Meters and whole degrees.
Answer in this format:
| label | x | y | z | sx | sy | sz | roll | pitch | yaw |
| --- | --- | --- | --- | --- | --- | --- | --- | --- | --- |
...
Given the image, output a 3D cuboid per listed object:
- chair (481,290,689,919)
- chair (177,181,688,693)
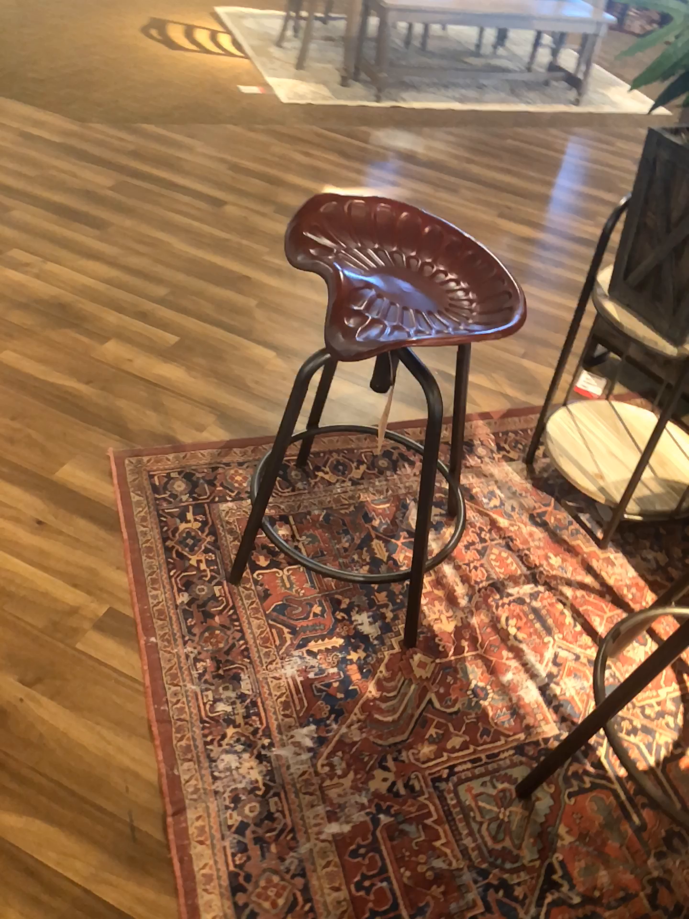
| label | x | y | z | sx | sy | sz | roll | pitch | yaw |
| --- | --- | --- | --- | --- | --- | --- | --- | --- | --- |
| chair | 0.665 | 0.313 | 0.999 | 0.610 | 0.736 | 0.539 | 31 | 46 | 22 |
| chair | 0.073 | -0.072 | 1.382 | 0.611 | 0.627 | 0.569 | -11 | 46 | -23 |
